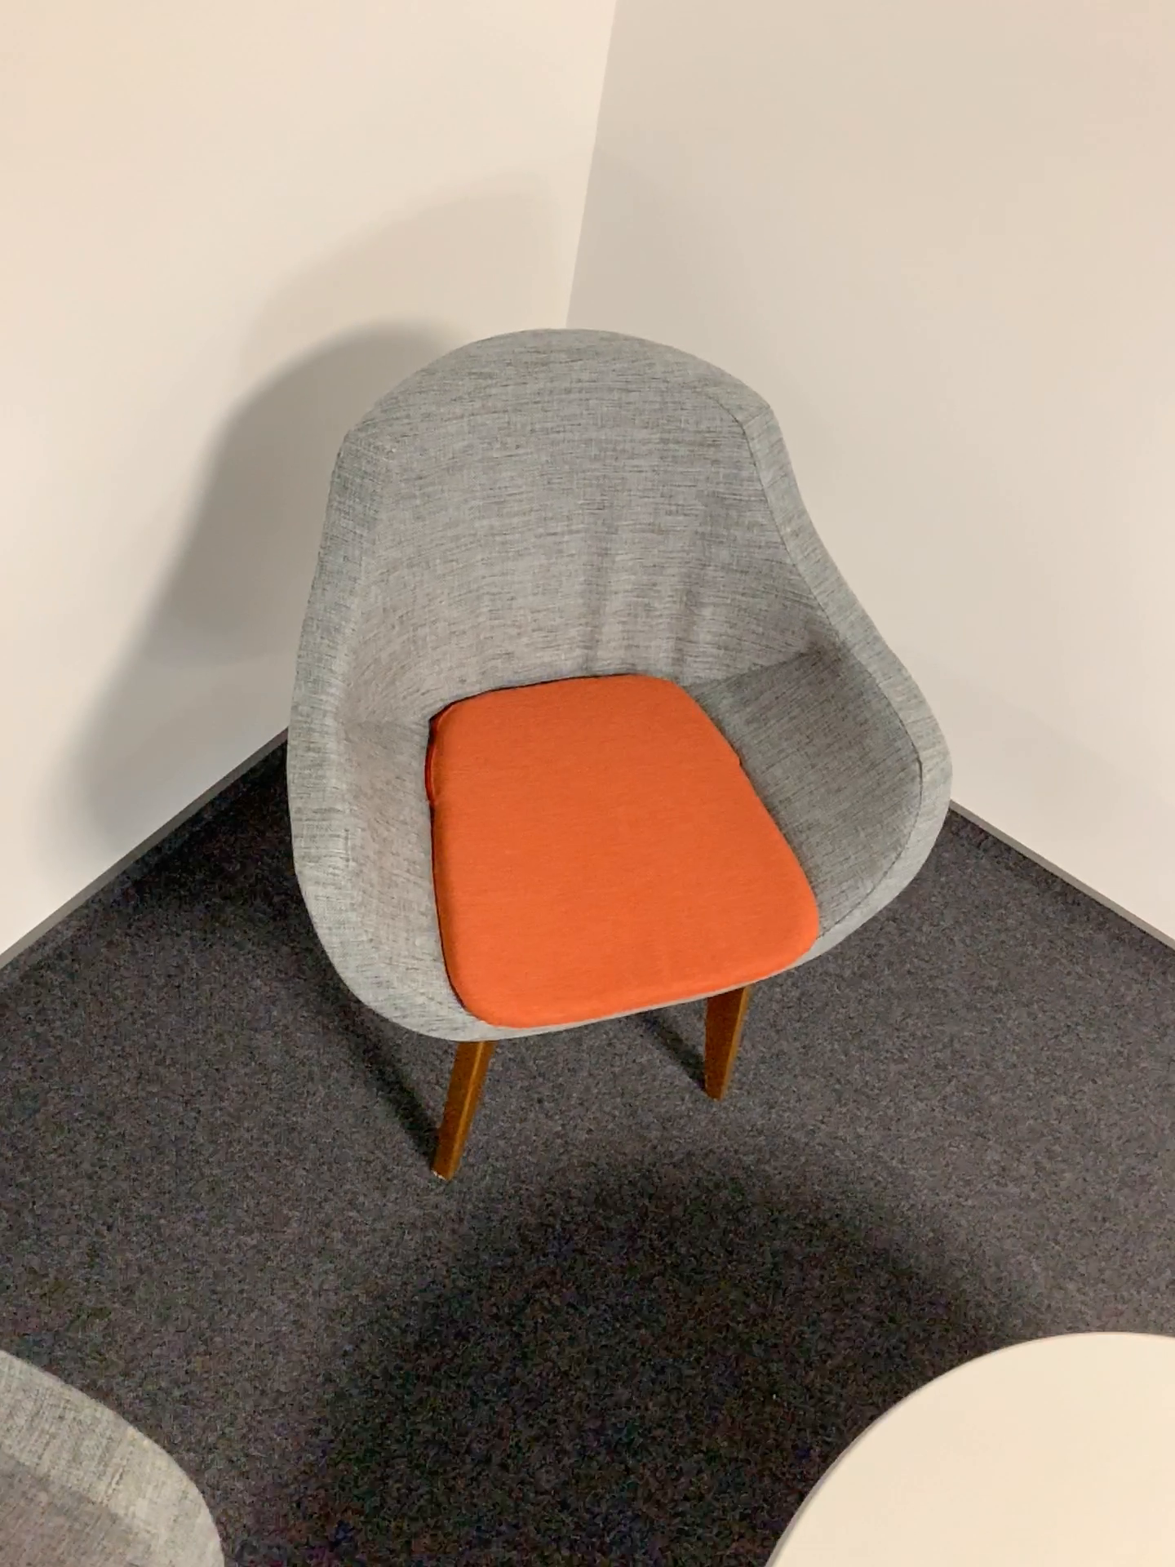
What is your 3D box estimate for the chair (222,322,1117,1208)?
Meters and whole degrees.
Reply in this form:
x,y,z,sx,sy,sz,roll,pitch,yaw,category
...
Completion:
x,y,z,sx,sy,sz,roll,pitch,yaw,category
-0.012,0.020,1.332,0.631,0.837,0.501,-9,57,-17,chair
